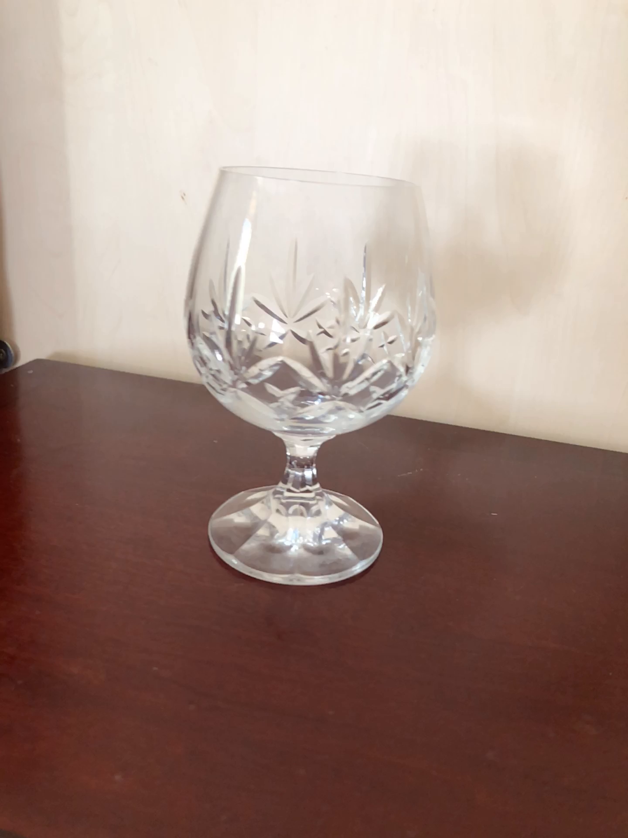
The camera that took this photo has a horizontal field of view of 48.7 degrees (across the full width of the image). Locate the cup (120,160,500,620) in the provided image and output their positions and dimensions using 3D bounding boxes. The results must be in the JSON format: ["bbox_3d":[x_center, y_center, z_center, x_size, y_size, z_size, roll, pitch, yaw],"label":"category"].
[{"bbox_3d":[-0.008,-0.020,0.247,0.089,0.126,0.087,5,20,-2],"label":"cup"}]
